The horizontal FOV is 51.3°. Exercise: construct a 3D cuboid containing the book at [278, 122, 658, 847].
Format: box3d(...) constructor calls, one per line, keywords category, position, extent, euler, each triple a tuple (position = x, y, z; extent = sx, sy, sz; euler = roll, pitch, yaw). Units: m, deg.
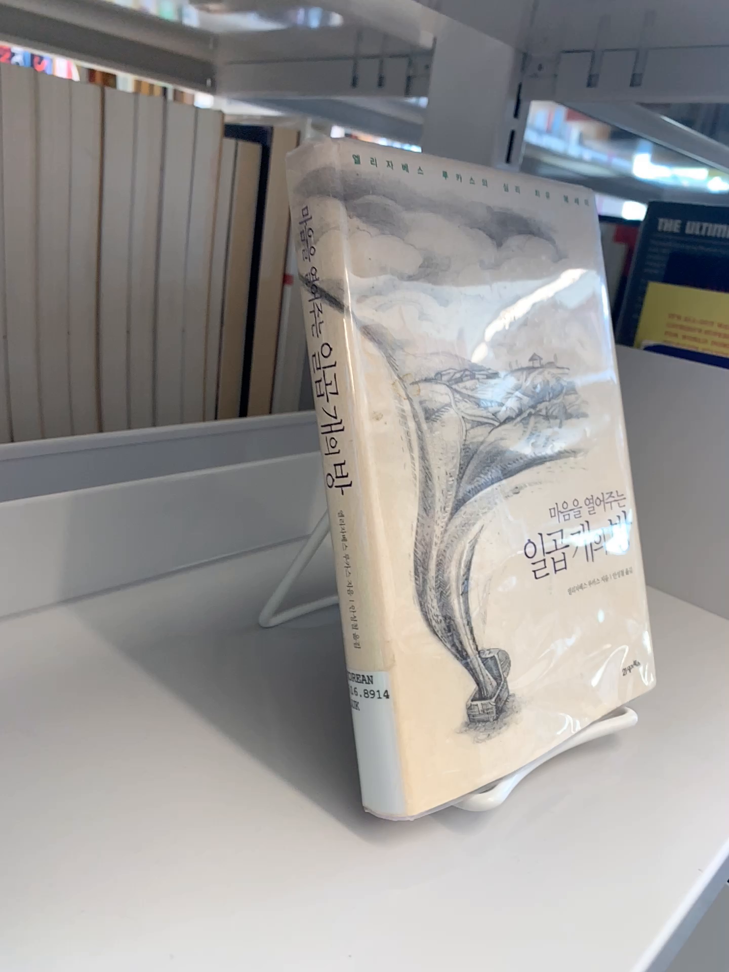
box3d(category="book", position=(0.044, -0.006, 0.251), extent=(0.137, 0.192, 0.019), euler=(-8, 3, -40))
